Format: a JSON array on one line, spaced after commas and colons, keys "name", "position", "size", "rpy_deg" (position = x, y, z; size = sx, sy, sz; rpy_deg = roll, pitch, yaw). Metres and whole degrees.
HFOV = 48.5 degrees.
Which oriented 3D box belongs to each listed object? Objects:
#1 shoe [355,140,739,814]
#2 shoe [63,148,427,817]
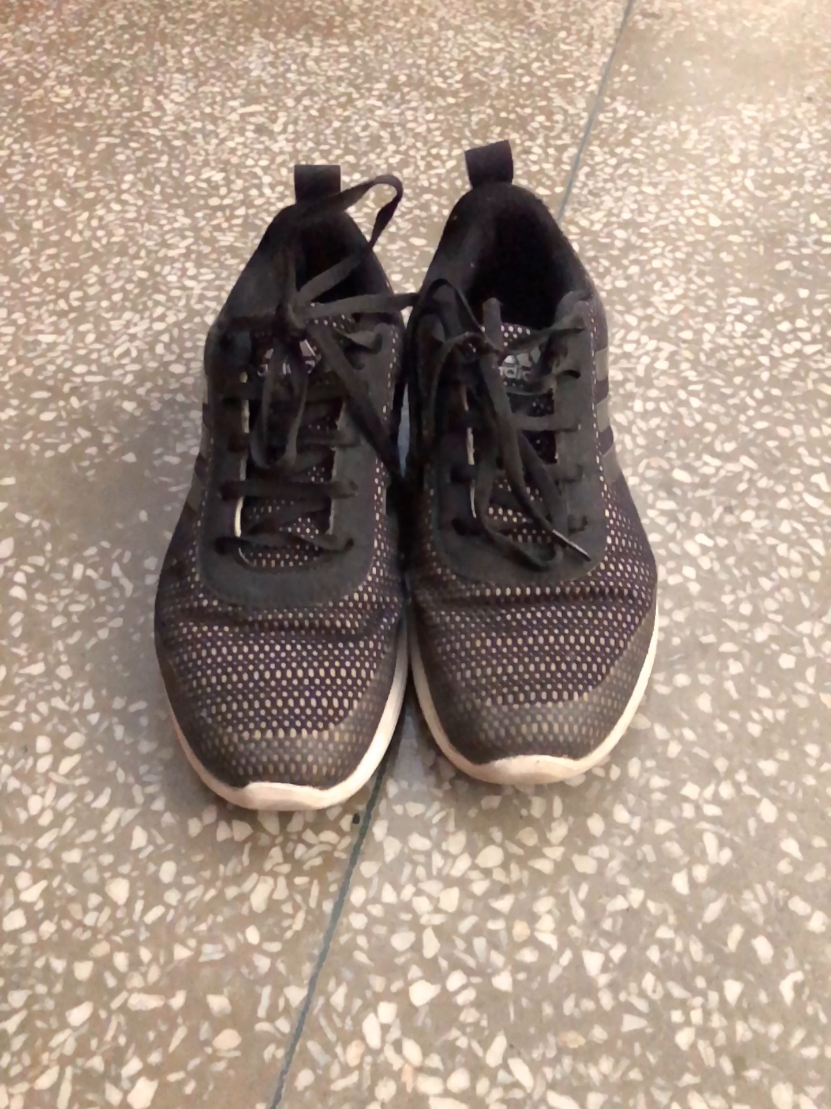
[{"name": "shoe", "position": [0.037, -0.048, 0.354], "size": [0.100, 0.080, 0.271], "rpy_deg": [0, 54, 1]}, {"name": "shoe", "position": [-0.049, -0.047, 0.369], "size": [0.100, 0.080, 0.281], "rpy_deg": [-1, 54, 0]}]
